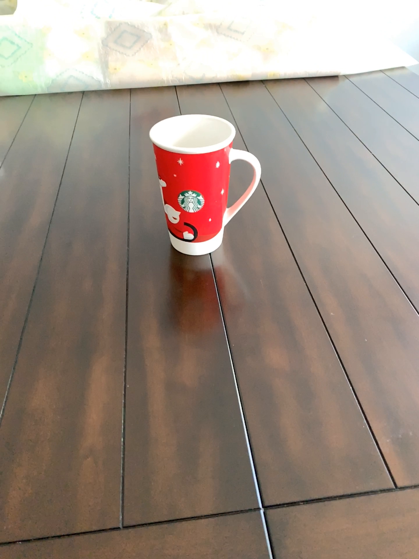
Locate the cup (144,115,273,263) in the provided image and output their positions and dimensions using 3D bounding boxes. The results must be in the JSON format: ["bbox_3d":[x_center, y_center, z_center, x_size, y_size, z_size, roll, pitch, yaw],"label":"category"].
[{"bbox_3d":[-0.004,-0.108,0.517,0.130,0.139,0.100,-2,42,-2],"label":"cup"}]
